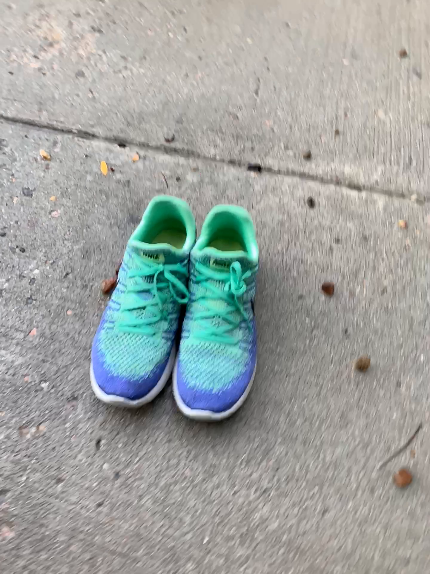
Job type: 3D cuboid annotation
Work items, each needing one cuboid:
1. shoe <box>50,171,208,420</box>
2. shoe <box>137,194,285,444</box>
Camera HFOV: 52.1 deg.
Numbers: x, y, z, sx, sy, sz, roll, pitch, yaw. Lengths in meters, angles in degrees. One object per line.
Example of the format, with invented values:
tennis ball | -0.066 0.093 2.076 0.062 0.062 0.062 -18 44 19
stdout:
shoe | -0.092 0.009 0.542 0.100 0.110 0.270 14 64 -1
shoe | 0.004 0.037 0.580 0.120 0.110 0.290 11 64 4
